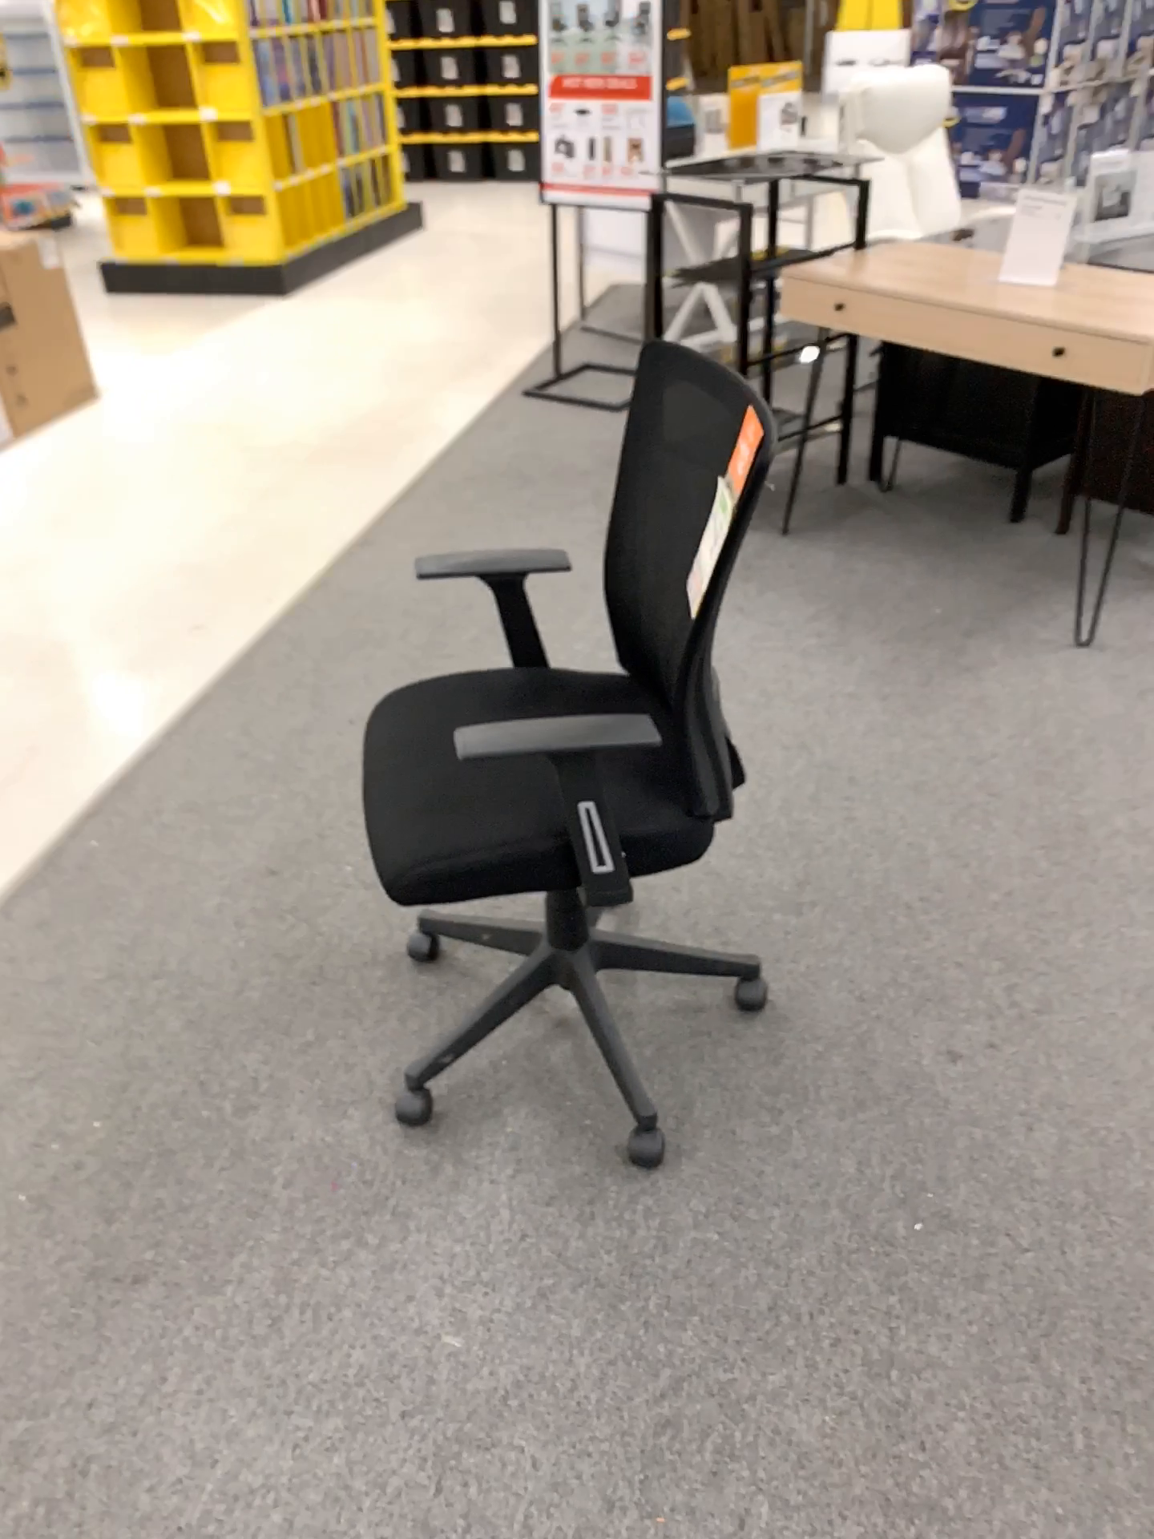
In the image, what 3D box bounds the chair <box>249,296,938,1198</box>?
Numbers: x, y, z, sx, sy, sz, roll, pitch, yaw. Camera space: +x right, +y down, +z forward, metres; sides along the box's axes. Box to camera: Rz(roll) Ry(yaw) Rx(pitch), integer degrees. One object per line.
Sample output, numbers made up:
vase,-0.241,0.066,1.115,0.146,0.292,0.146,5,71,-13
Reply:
chair,0.010,-0.041,1.654,0.640,0.994,0.674,-5,33,-3
